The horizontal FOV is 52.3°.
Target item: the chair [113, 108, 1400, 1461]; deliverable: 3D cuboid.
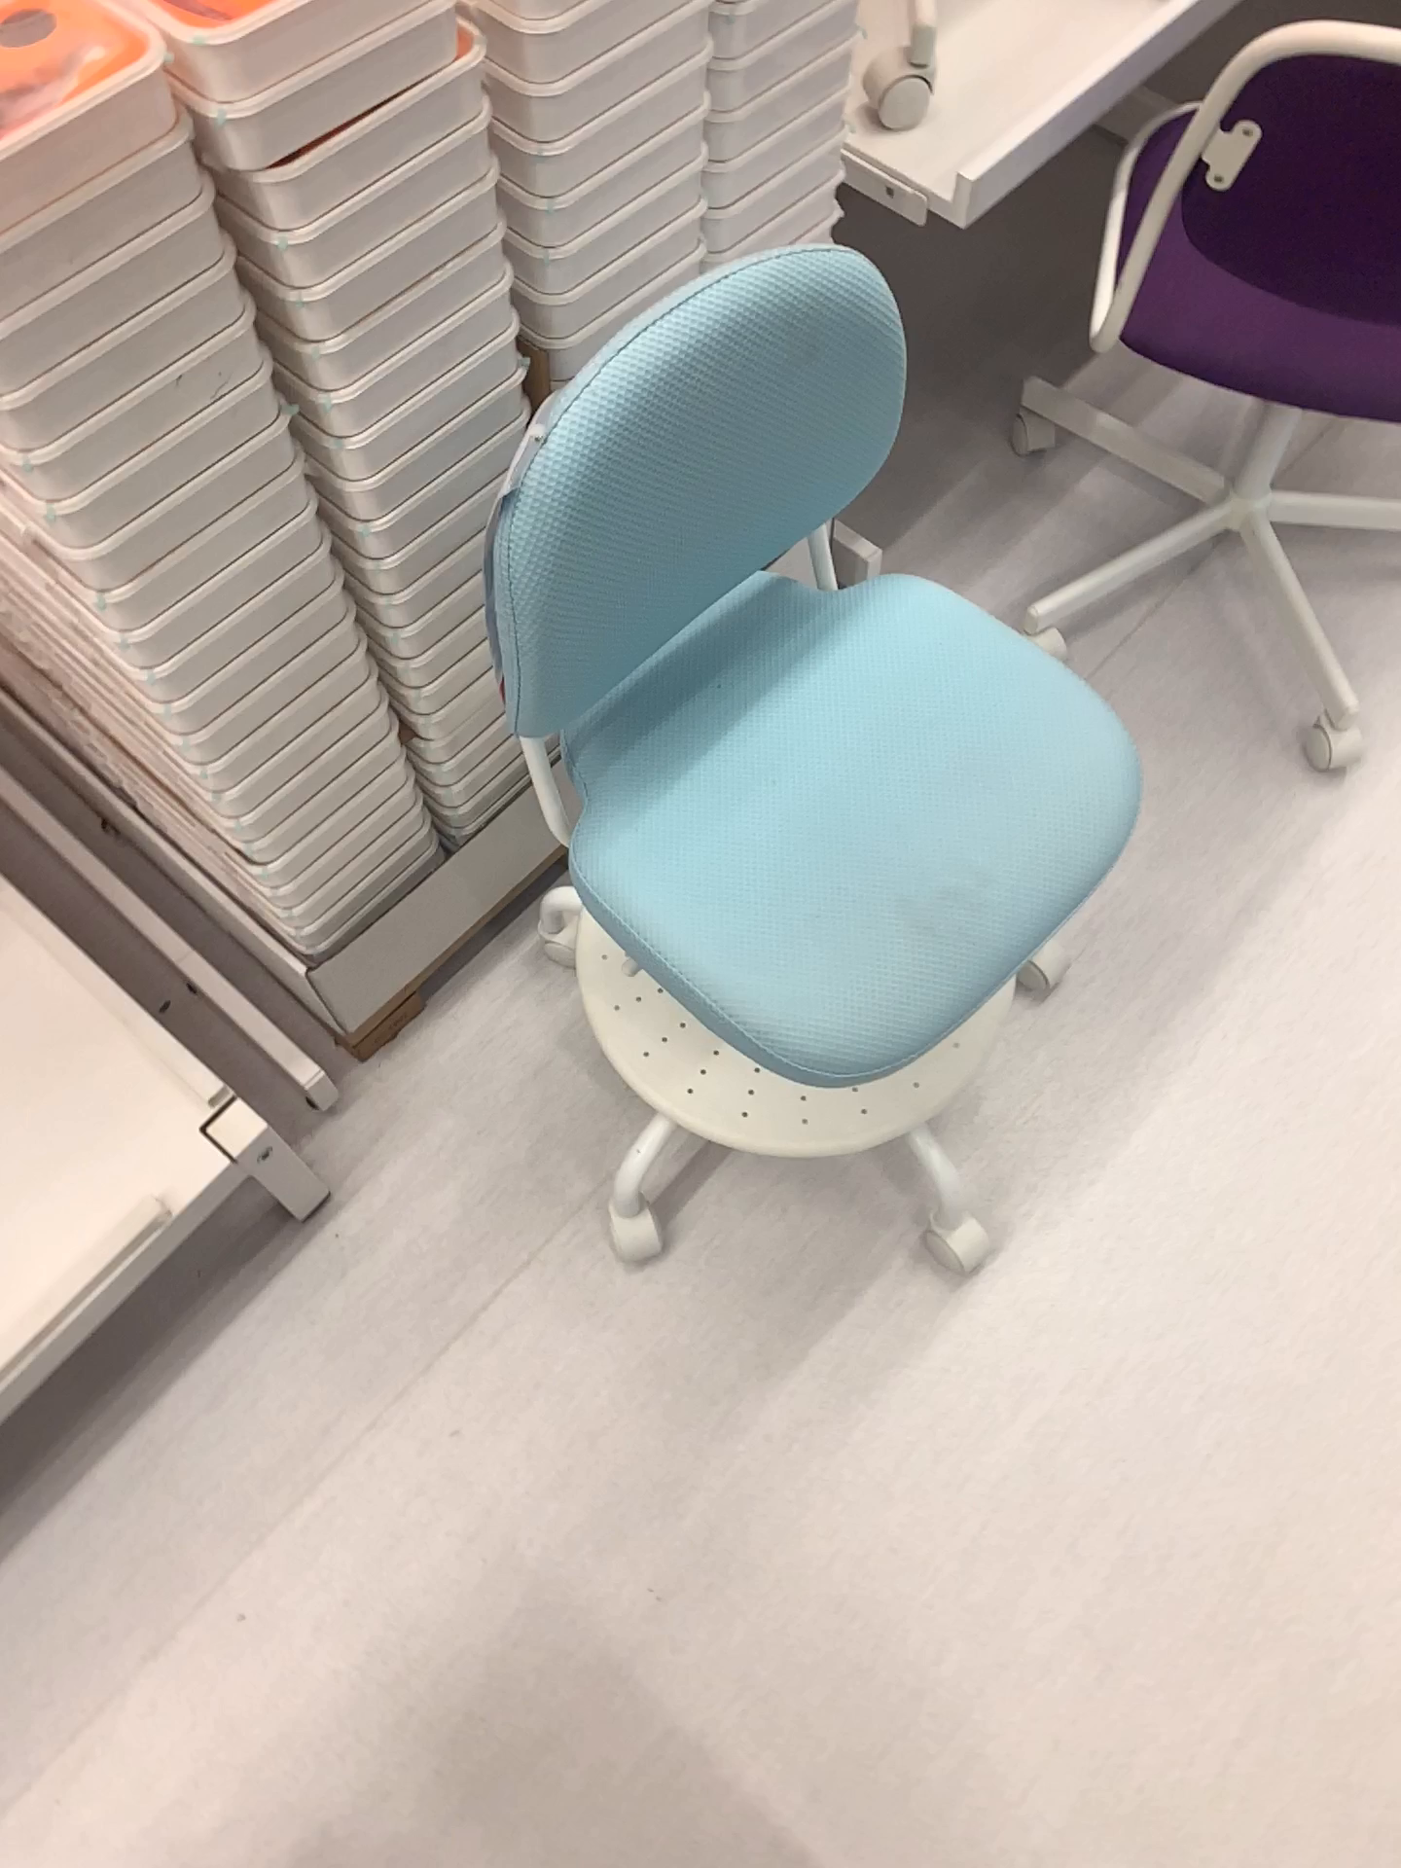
[{"bbox_3d":[0.081,-0.052,1.169,0.611,0.749,0.570,38,71,18],"label":"chair"}]
